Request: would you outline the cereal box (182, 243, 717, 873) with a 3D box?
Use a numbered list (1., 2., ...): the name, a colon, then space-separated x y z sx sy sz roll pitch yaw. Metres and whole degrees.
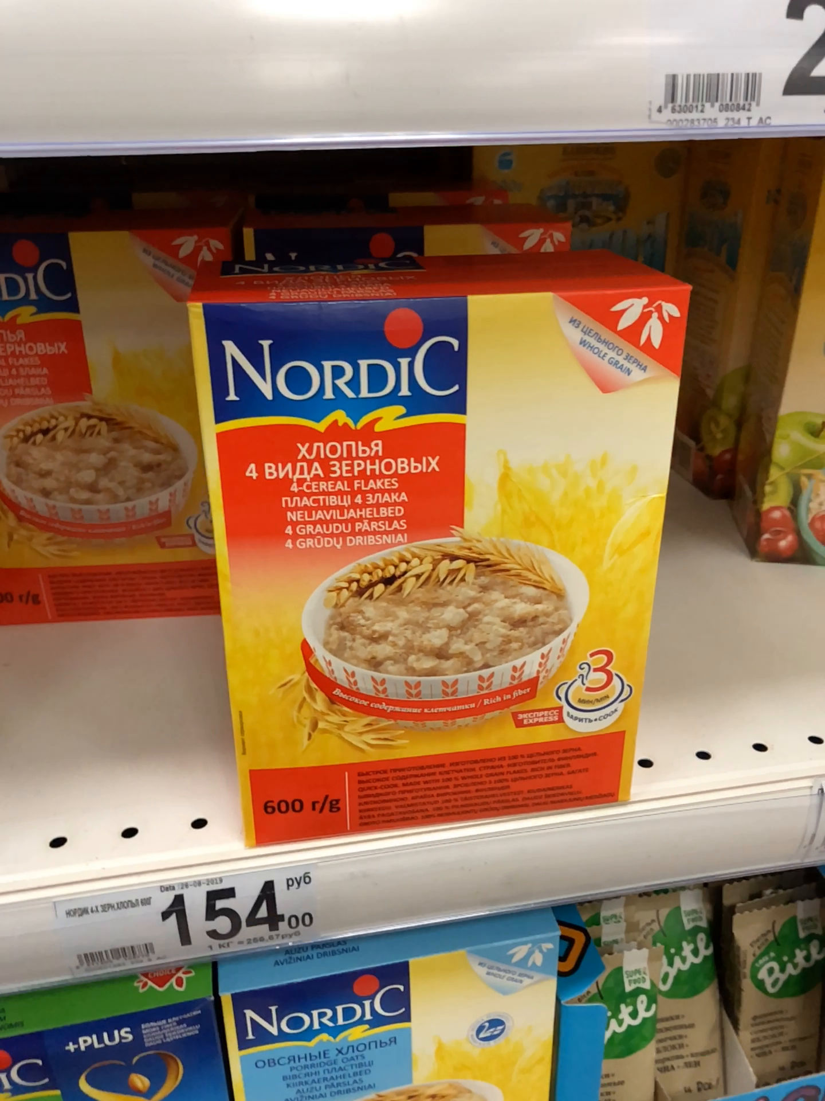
1. cereal box: 0.008 0.001 0.330 0.150 0.199 0.080 -5 26 -9
